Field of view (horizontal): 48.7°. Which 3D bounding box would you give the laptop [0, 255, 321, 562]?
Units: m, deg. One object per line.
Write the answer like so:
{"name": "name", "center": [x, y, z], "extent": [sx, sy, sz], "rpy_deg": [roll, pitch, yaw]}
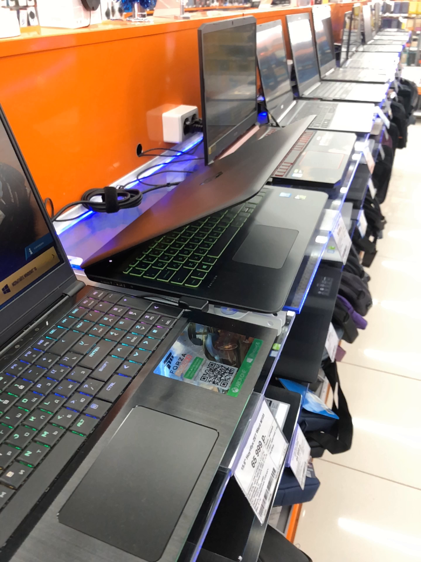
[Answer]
{"name": "laptop", "center": [-0.029, 0.174, 0.627], "extent": [0.262, 0.217, 0.413], "rpy_deg": [11, 32, 18]}

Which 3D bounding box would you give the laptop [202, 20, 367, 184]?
{"name": "laptop", "center": [0.174, -0.402, 0.985], "extent": [0.253, 0.245, 0.411], "rpy_deg": [9, 32, 13]}

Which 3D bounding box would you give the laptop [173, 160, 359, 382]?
{"name": "laptop", "center": [0.132, -0.054, 0.978], "extent": [0.274, 0.254, 0.399], "rpy_deg": [10, 34, 18]}

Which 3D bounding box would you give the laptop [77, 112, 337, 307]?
{"name": "laptop", "center": [0.029, -0.131, 0.654], "extent": [0.227, 0.118, 0.371], "rpy_deg": [11, 32, 17]}

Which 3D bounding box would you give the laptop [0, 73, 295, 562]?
{"name": "laptop", "center": [-0.135, 0.008, 0.312], "extent": [0.303, 0.219, 0.342], "rpy_deg": [11, 32, 18]}
